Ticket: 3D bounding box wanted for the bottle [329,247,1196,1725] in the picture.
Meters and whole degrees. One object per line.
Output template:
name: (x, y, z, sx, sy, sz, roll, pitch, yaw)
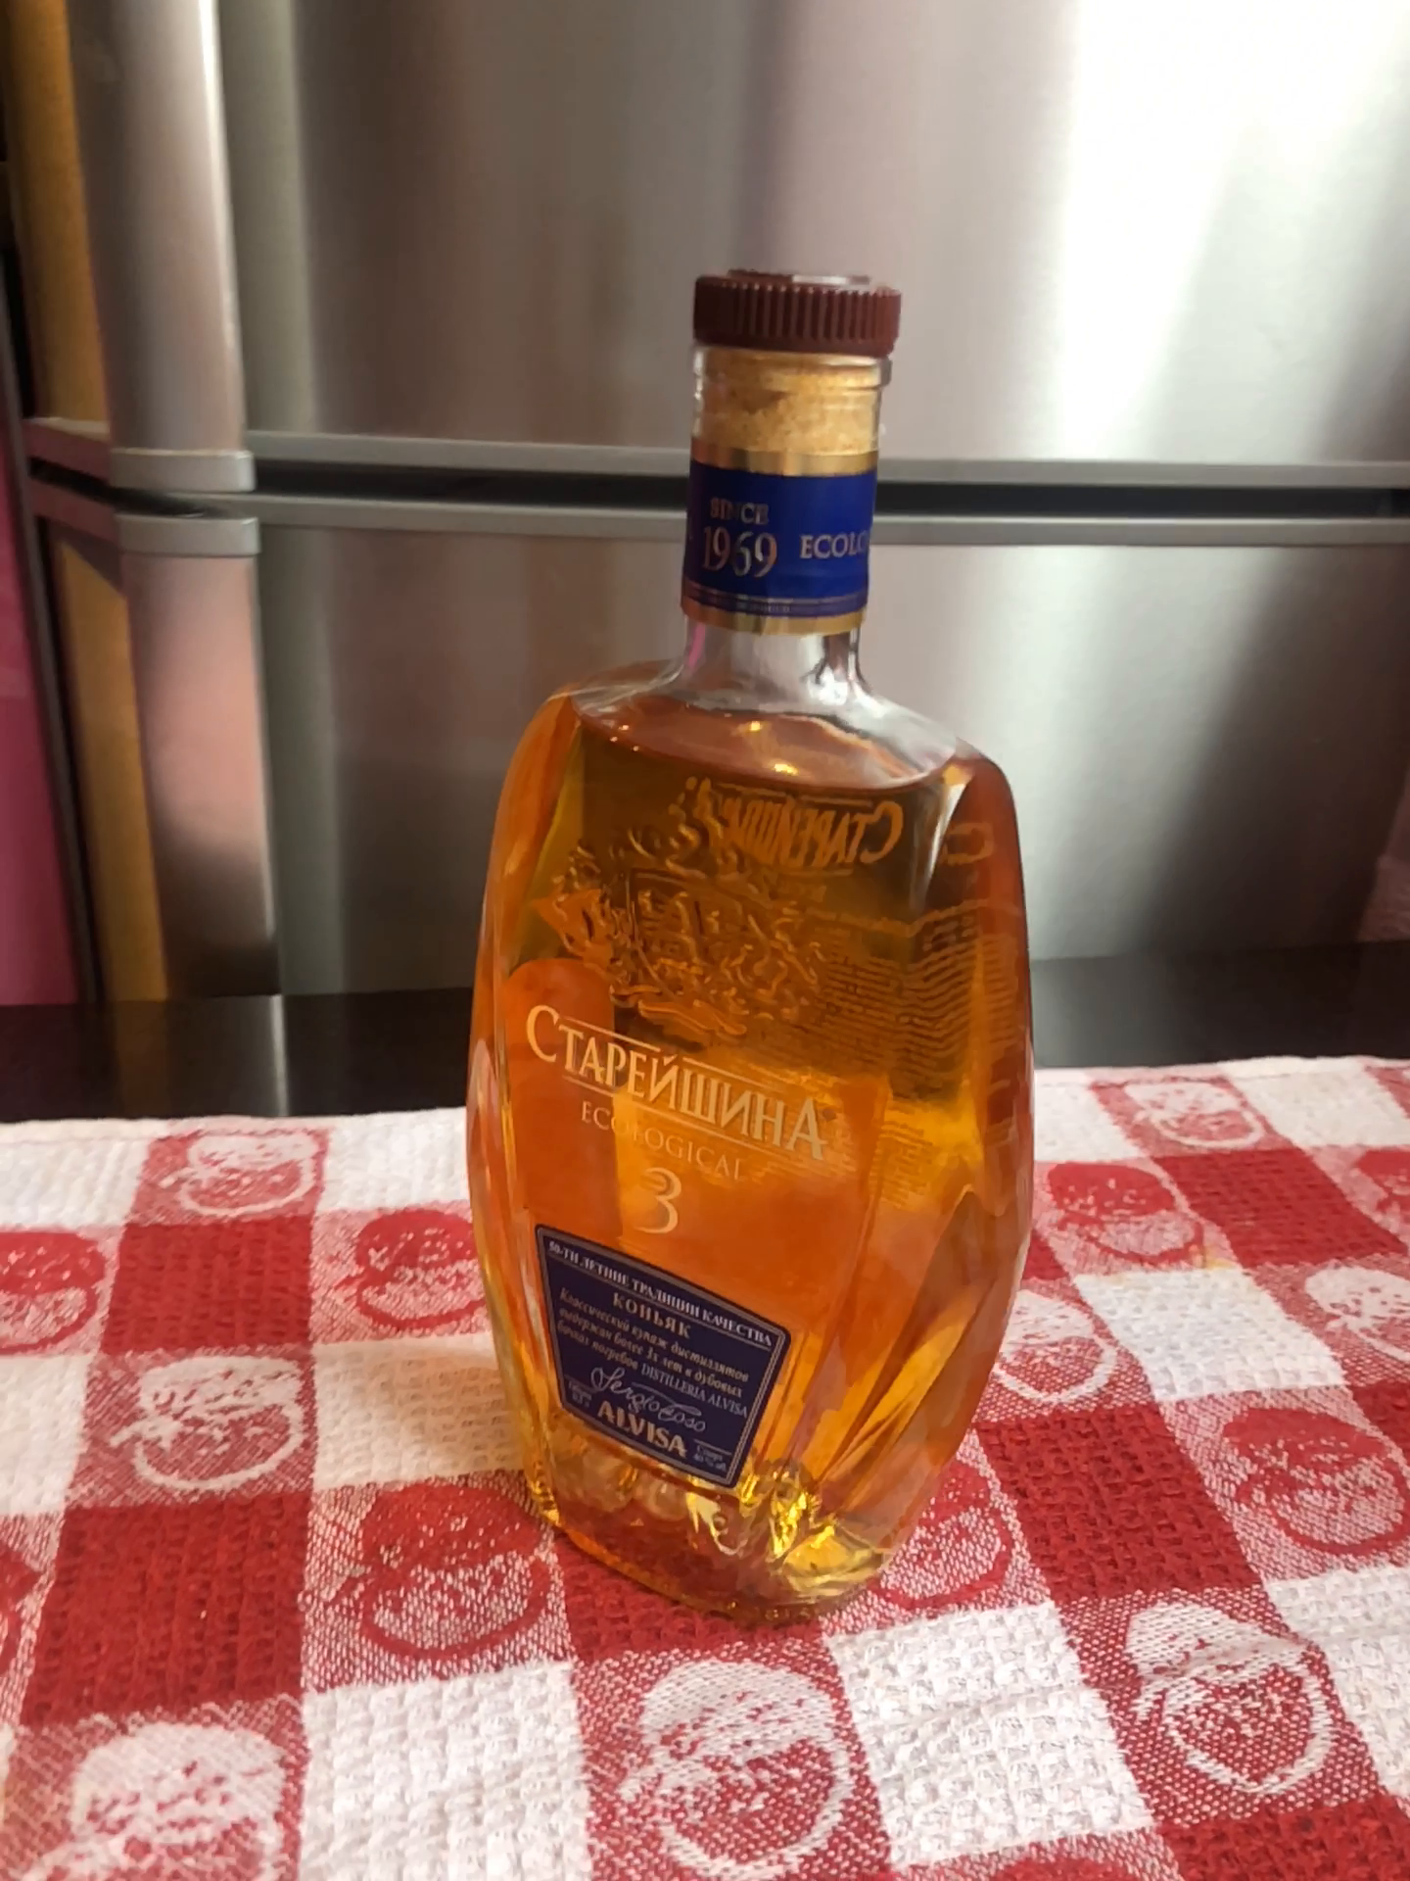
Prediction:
bottle: (-0.001, 0.008, 0.261, 0.110, 0.219, 0.050, 19, 29, 29)
